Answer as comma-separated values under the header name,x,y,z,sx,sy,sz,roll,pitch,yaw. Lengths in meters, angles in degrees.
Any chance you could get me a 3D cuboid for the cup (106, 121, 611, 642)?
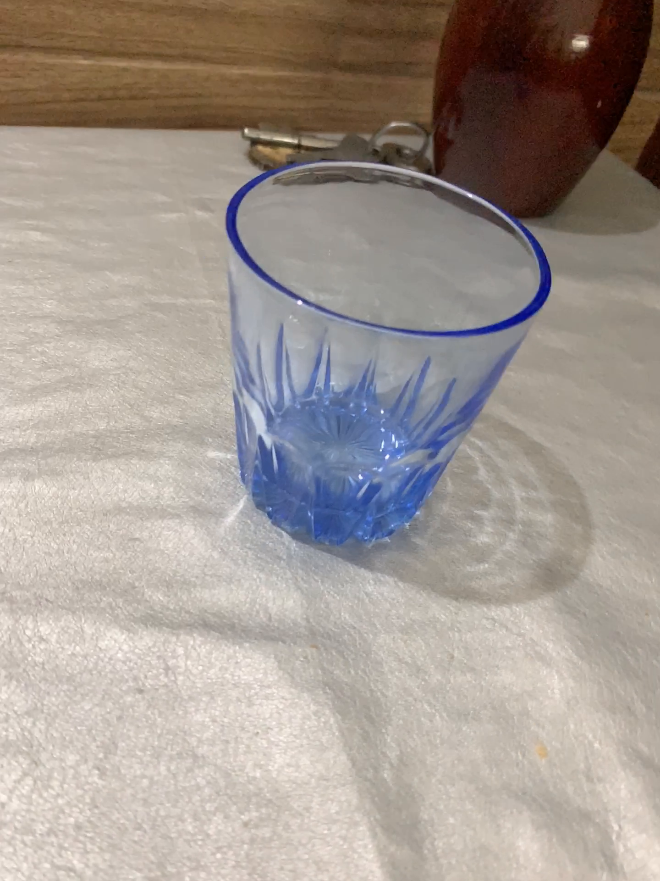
name,x,y,z,sx,sy,sz,roll,pitch,yaw
cup,0.009,-0.020,0.181,0.090,0.070,0.090,7,46,-7
